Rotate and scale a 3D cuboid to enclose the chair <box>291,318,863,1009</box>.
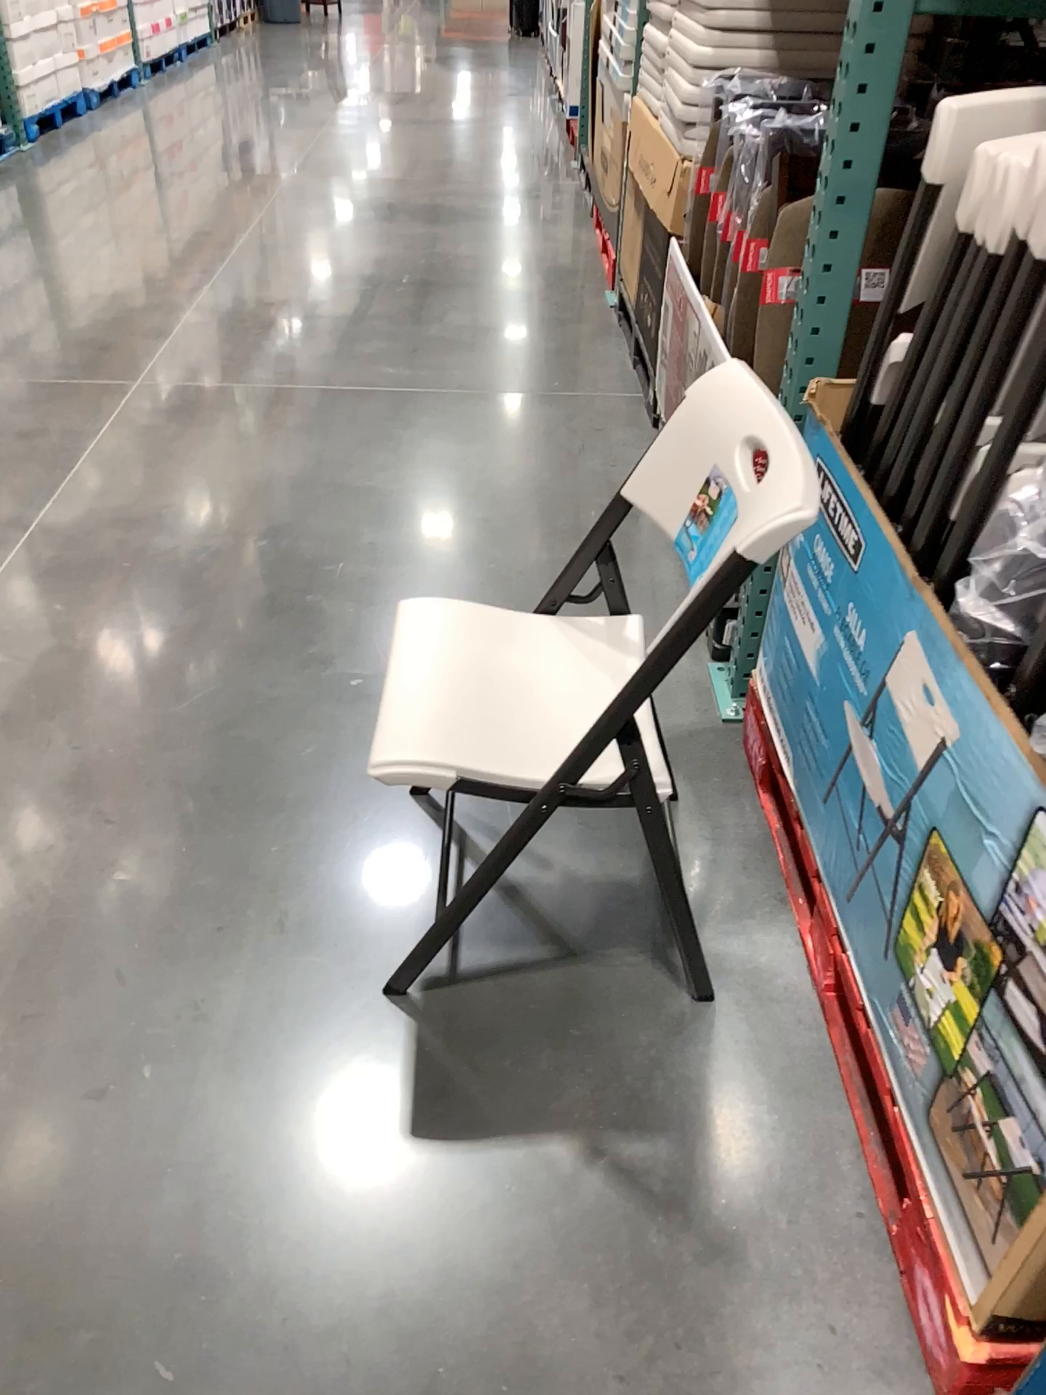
[{"bbox_3d":[0.038,-0.041,1.533,0.574,0.806,0.568,1,37,-2],"label":"chair"}]
